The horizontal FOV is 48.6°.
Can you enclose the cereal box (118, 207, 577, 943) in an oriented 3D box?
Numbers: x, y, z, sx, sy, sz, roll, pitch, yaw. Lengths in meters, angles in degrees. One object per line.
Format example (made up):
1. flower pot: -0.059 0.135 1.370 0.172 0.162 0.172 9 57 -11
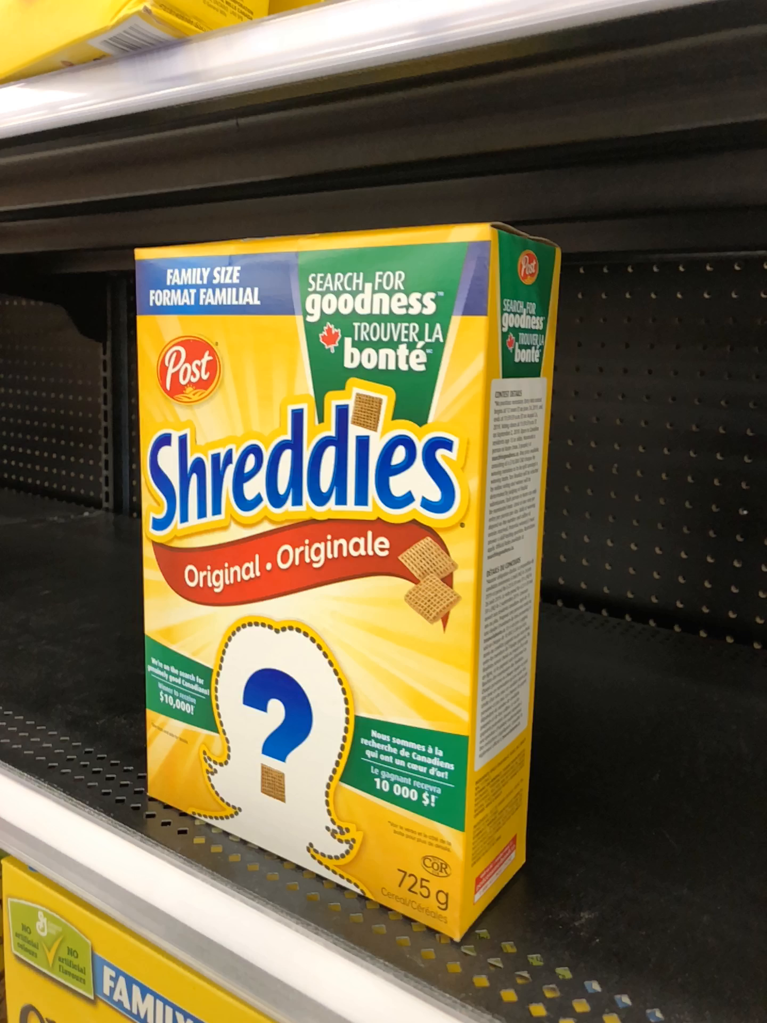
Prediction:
1. cereal box: -0.029 0.016 0.412 0.210 0.289 0.070 9 11 34
